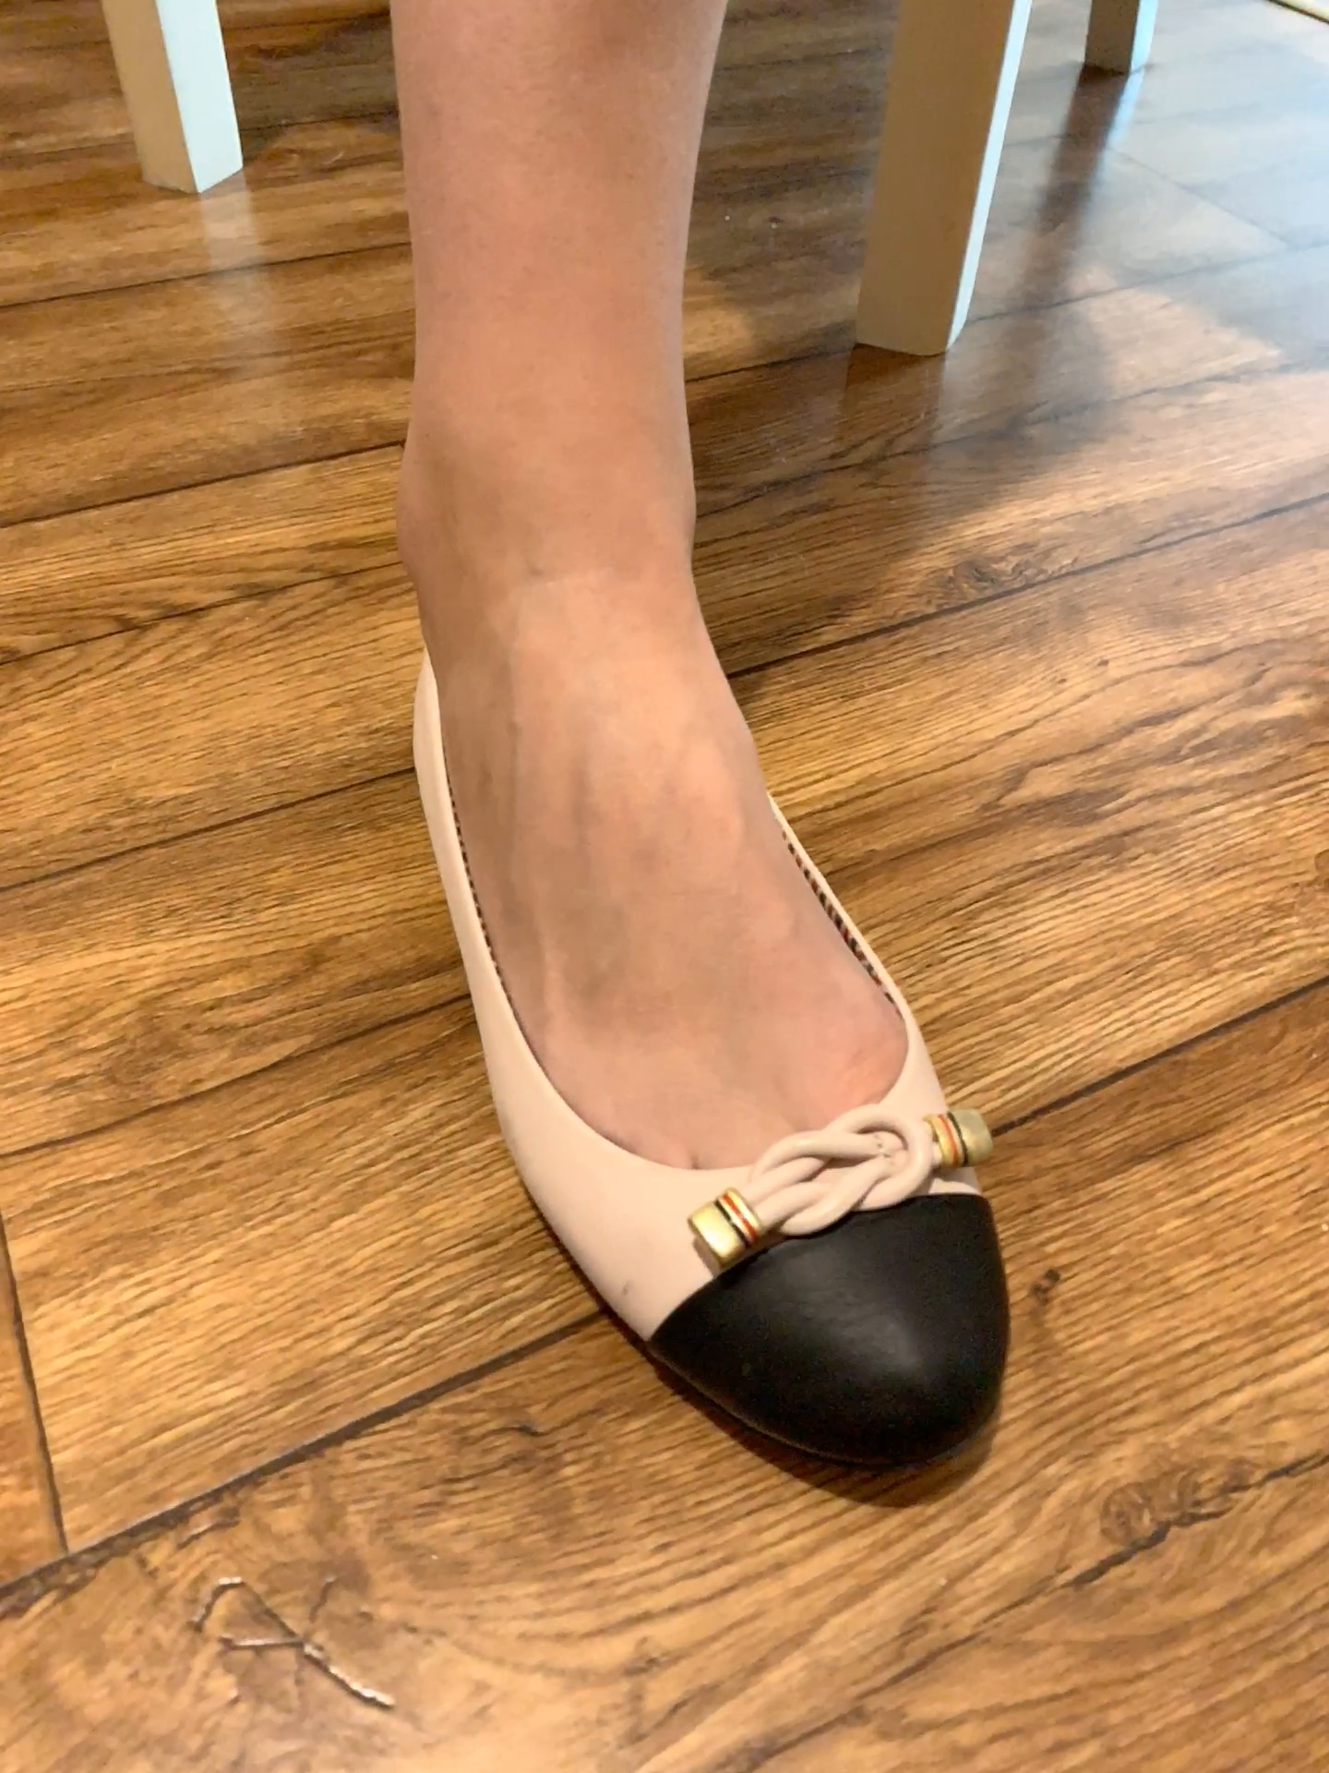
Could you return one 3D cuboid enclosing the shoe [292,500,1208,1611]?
[{"bbox_3d":[-0.004,0.010,0.279,0.083,0.059,0.221,-17,50,-18],"label":"shoe"}]
